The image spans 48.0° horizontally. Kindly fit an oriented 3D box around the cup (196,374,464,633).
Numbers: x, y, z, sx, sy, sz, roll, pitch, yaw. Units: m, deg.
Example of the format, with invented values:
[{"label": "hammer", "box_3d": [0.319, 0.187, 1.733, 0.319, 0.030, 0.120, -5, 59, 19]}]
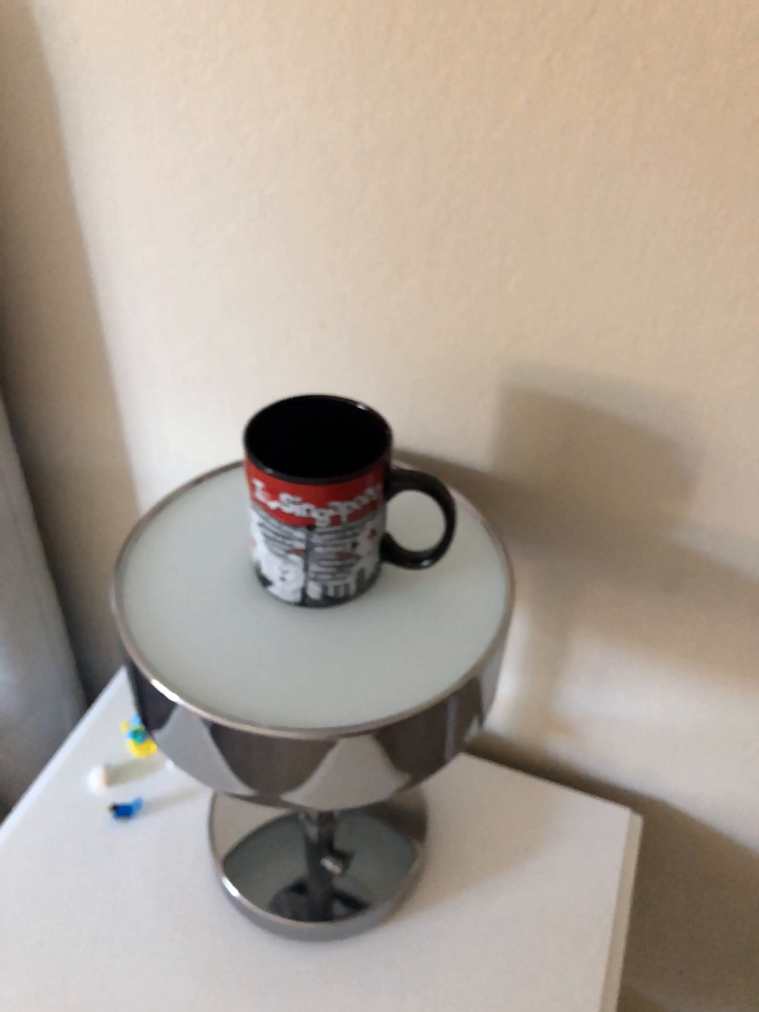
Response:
[{"label": "cup", "box_3d": [-0.024, -0.003, 0.492, 0.130, 0.099, 0.090, 7, 40, 5]}]
